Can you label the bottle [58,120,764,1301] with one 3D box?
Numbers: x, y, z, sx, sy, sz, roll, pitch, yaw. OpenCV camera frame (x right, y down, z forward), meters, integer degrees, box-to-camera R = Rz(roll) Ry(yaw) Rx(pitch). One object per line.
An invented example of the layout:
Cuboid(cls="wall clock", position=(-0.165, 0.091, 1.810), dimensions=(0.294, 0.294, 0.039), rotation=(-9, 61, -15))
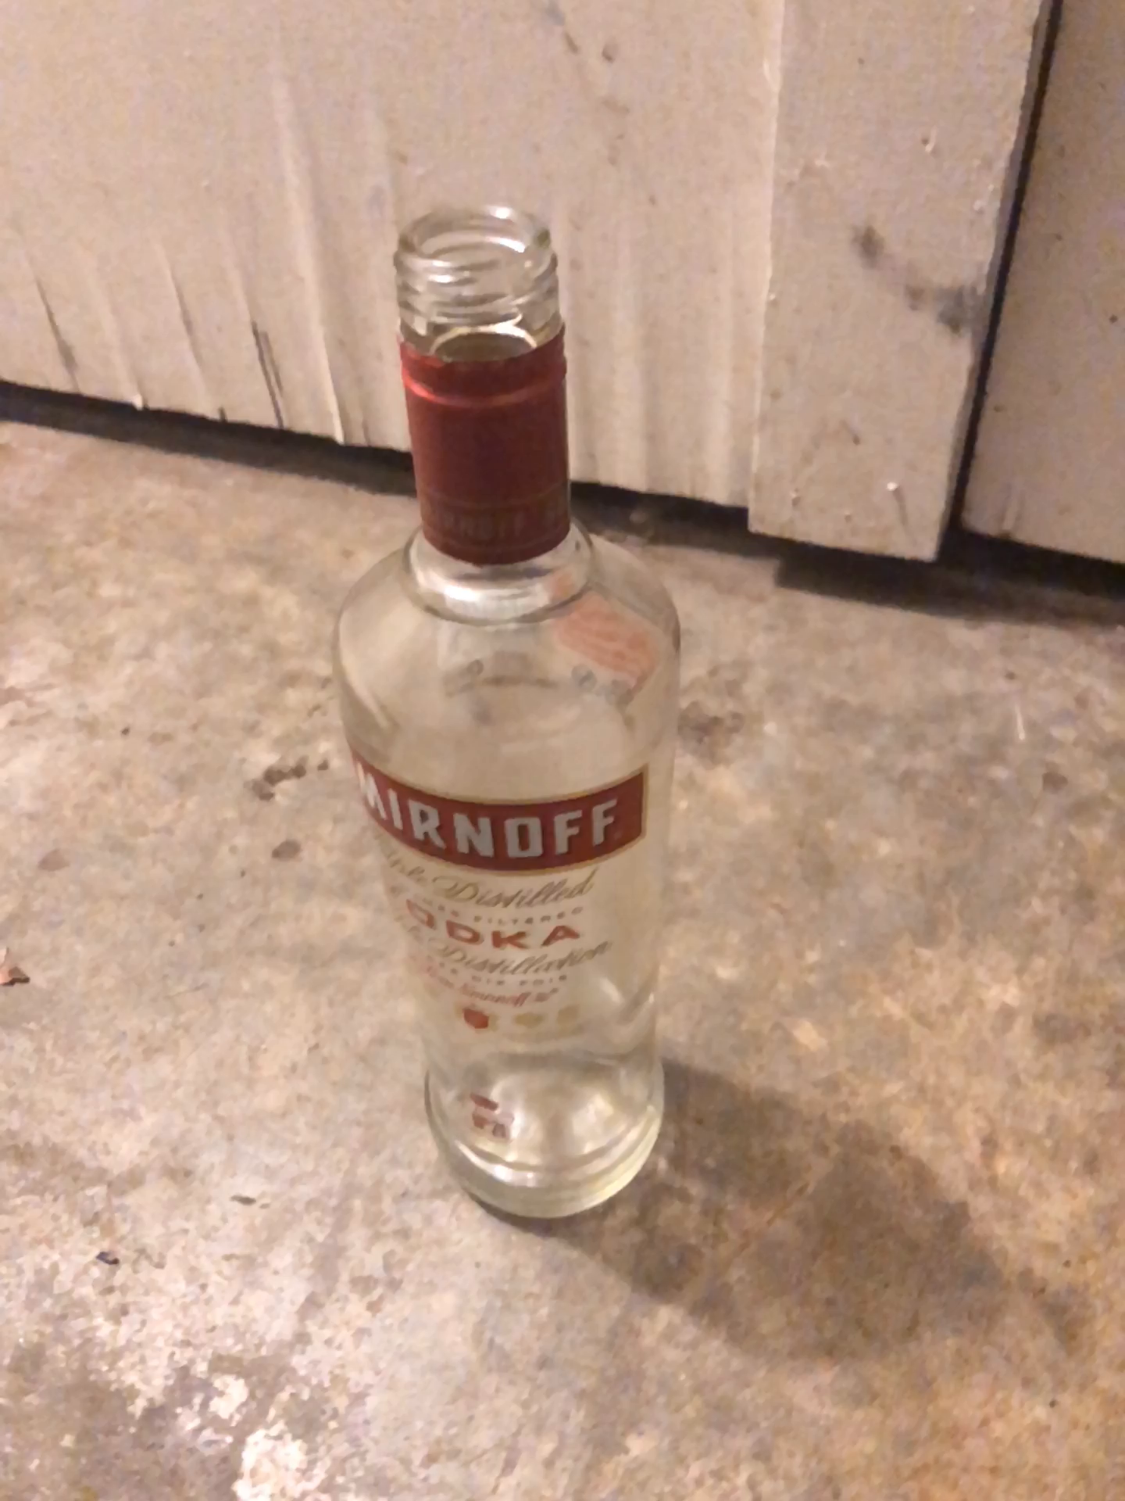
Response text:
Cuboid(cls="bottle", position=(-0.014, 0.020, 0.299), dimensions=(0.080, 0.288, 0.080), rotation=(-2, 45, 2))
